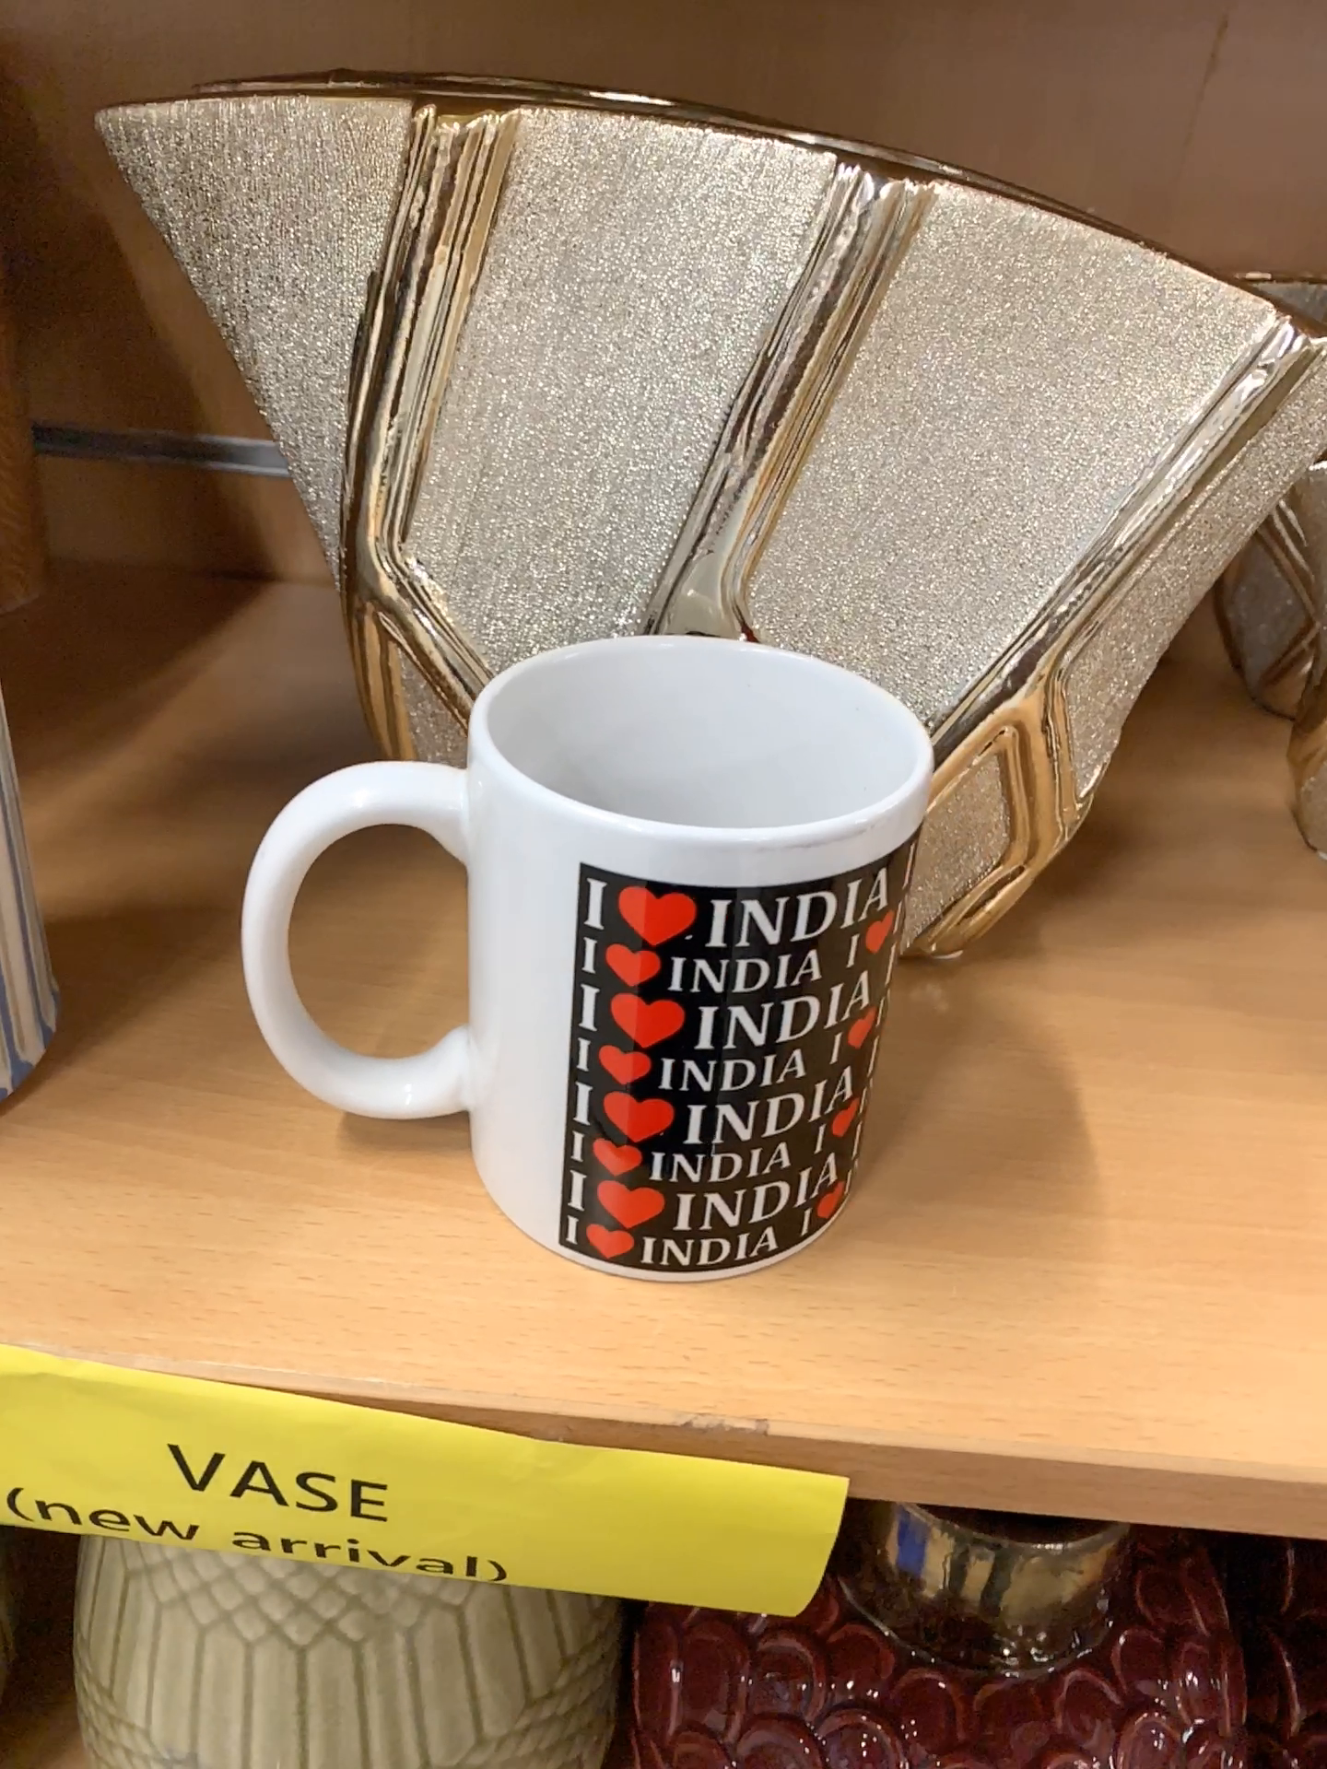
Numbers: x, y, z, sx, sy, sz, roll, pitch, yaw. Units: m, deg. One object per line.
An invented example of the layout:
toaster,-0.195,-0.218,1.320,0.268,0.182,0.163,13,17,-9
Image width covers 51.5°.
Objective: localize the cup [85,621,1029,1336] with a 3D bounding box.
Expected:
cup,-0.020,0.010,0.250,0.130,0.090,0.090,-2,29,-8
